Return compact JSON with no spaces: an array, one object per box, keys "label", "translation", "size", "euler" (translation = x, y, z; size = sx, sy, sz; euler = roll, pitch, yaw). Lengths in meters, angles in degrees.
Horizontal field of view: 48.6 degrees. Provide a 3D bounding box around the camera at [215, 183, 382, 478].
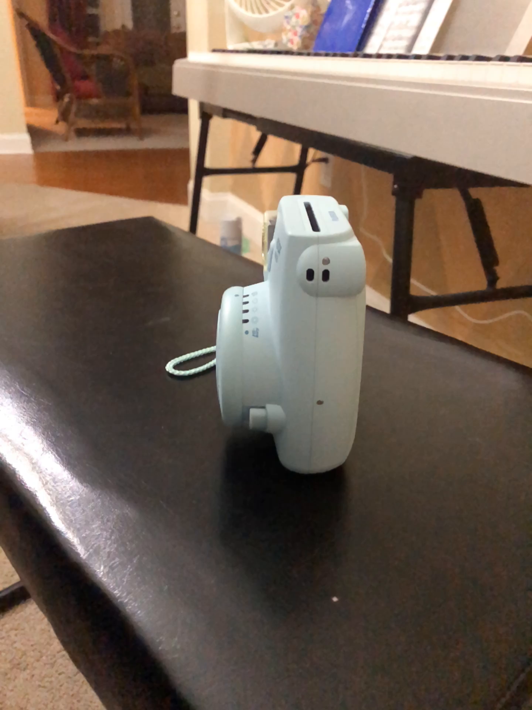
[{"label":"camera","translation":[0.010,-0.020,0.318],"size":[0.068,0.118,0.121],"euler":[1,27,-2]}]
